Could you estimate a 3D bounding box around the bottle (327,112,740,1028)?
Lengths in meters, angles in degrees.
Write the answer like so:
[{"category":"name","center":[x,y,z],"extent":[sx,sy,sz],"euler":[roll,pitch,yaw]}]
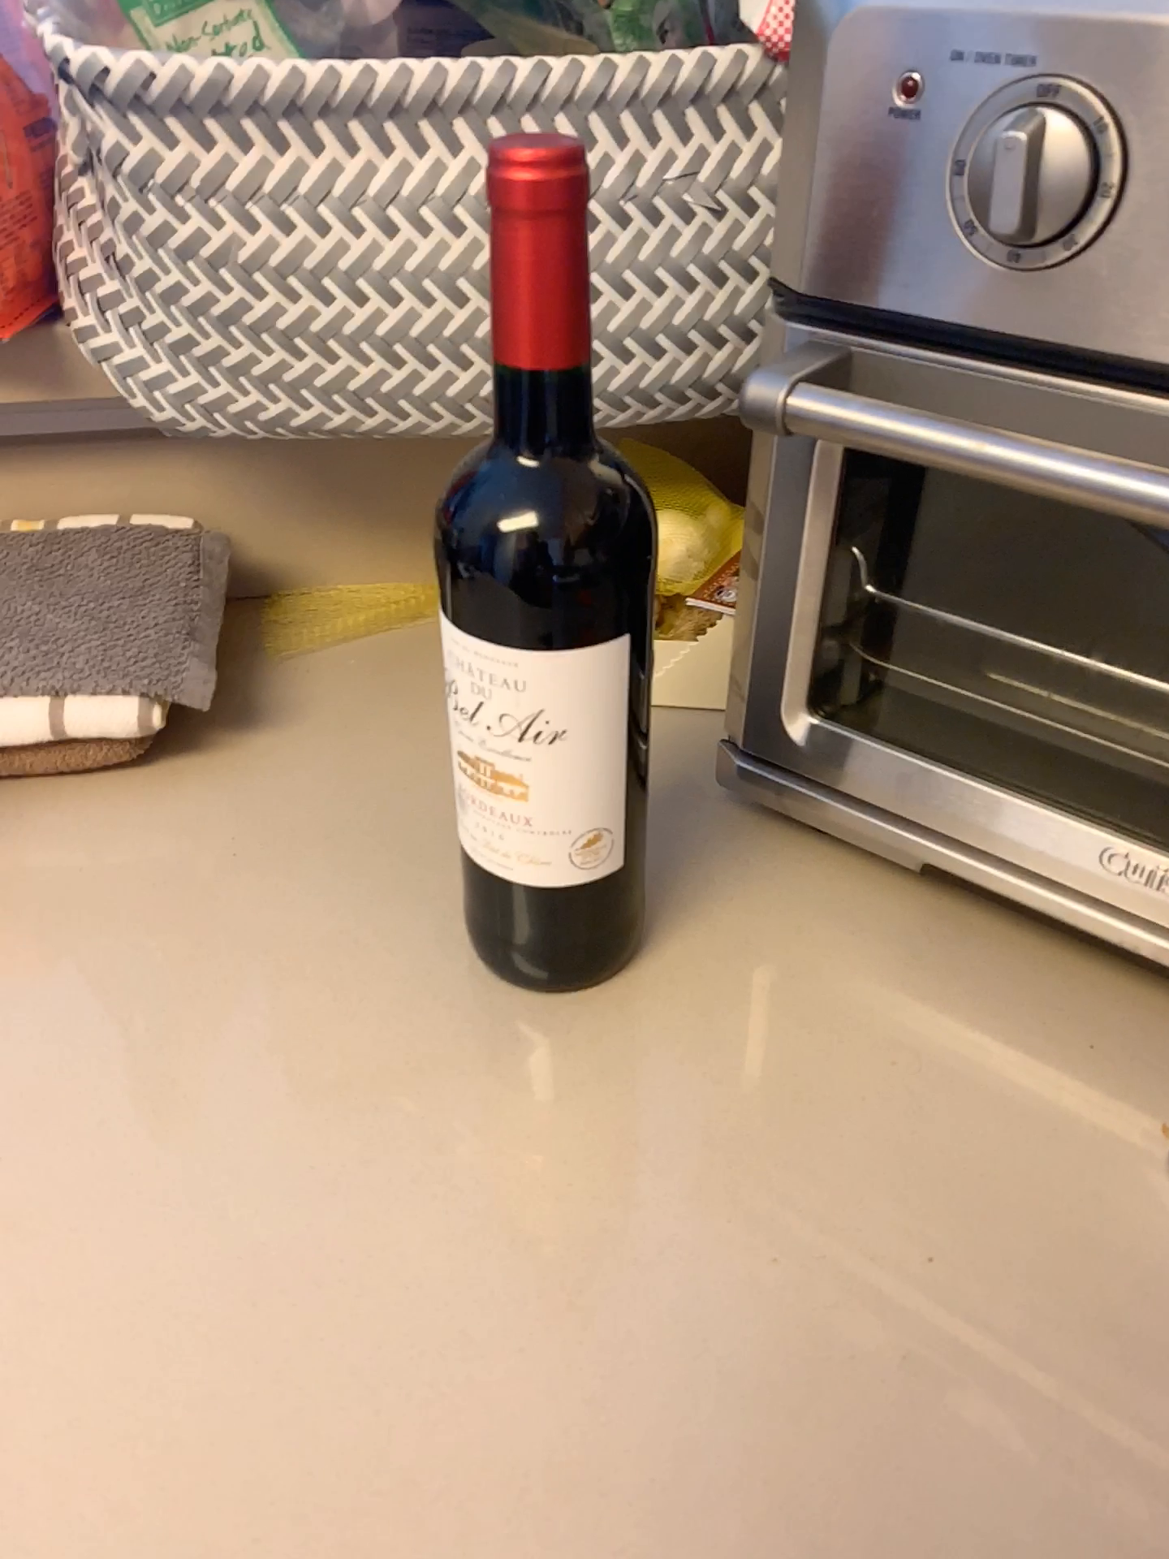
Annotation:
[{"category":"bottle","center":[-0.012,-0.057,0.410],"extent":[0.080,0.288,0.080],"euler":[0,36,0]}]
